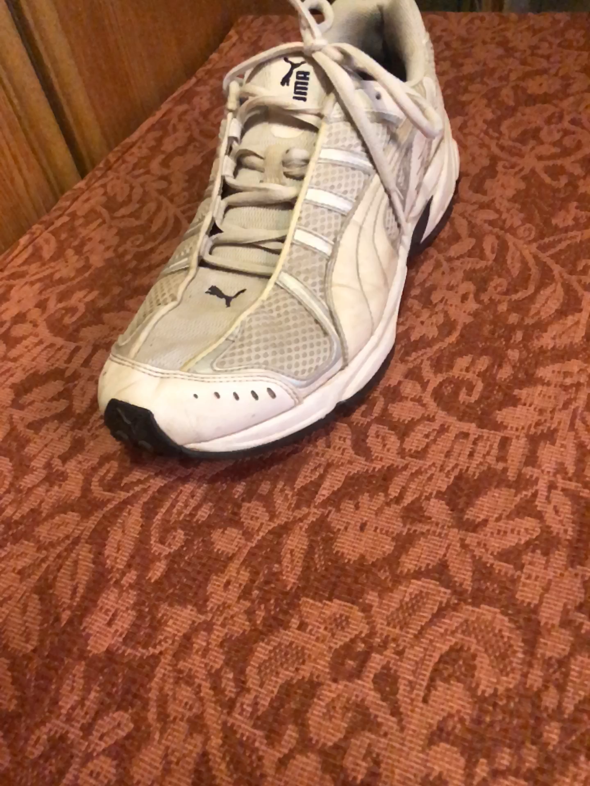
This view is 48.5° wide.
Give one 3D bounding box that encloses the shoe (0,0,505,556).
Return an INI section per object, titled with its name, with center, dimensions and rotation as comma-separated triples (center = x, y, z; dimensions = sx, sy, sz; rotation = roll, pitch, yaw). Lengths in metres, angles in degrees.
[shoe]
center = 0.009, -0.088, 0.302
dimensions = 0.100, 0.100, 0.291
rotation = 13, 51, 23
